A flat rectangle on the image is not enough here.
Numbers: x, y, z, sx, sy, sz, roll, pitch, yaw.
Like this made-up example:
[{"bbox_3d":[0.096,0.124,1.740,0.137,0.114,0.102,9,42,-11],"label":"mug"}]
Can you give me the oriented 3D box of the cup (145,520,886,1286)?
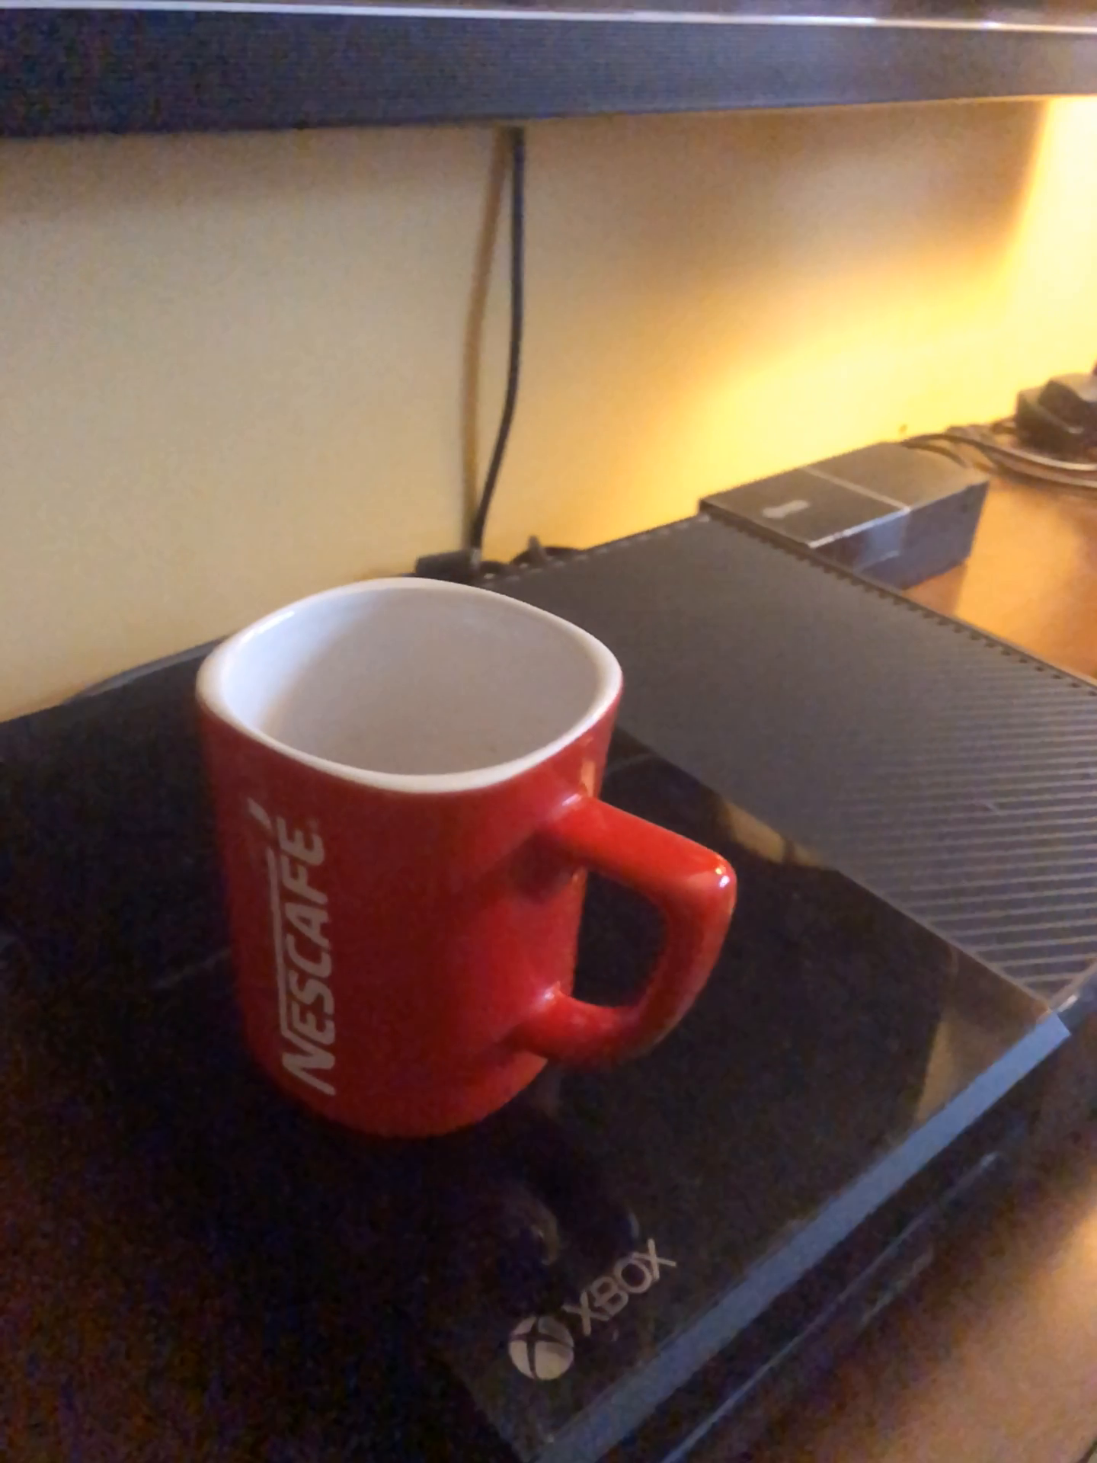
[{"bbox_3d":[-0.007,0.025,0.247,0.110,0.089,0.080,22,36,26],"label":"cup"}]
